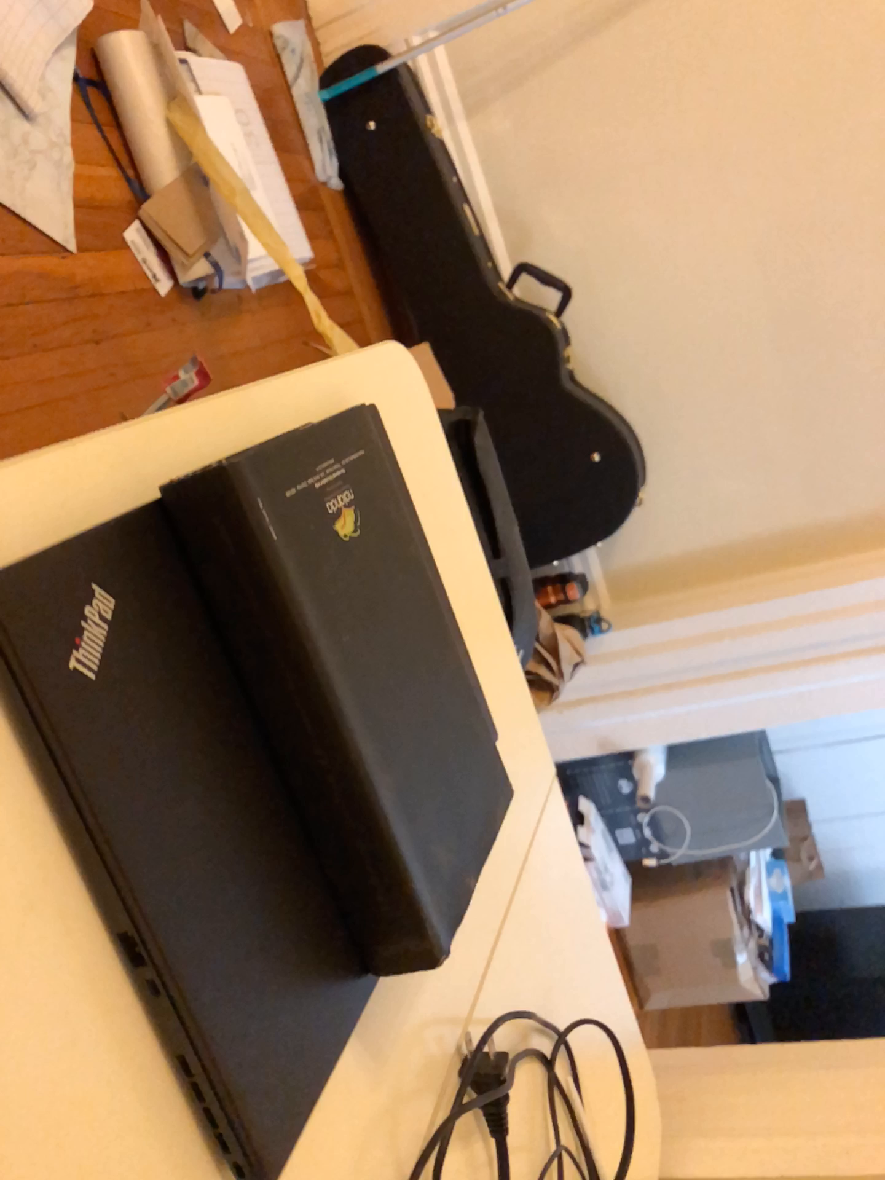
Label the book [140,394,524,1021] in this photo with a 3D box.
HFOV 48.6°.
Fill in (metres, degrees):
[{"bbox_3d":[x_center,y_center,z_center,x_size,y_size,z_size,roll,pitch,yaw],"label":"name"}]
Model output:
[{"bbox_3d":[-0.031,0.041,0.433,0.151,0.040,0.230,-50,124,-65],"label":"book"}]
